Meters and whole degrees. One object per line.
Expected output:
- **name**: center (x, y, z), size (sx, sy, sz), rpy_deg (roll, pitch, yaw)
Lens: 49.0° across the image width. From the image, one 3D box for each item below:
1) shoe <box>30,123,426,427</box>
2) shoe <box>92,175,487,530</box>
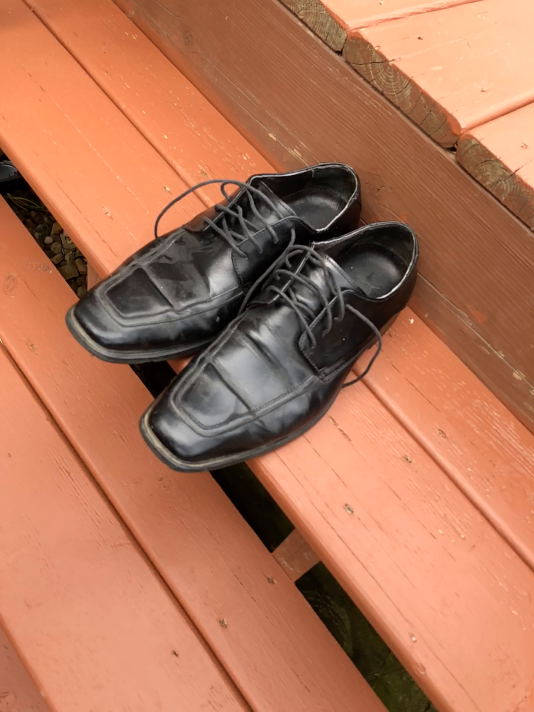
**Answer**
- **shoe**: center (-0.024, -0.090, 0.538), size (0.331, 0.110, 0.130), rpy_deg (-30, 71, -31)
- **shoe**: center (0.029, -0.021, 0.507), size (0.331, 0.110, 0.130), rpy_deg (-35, 73, -32)
